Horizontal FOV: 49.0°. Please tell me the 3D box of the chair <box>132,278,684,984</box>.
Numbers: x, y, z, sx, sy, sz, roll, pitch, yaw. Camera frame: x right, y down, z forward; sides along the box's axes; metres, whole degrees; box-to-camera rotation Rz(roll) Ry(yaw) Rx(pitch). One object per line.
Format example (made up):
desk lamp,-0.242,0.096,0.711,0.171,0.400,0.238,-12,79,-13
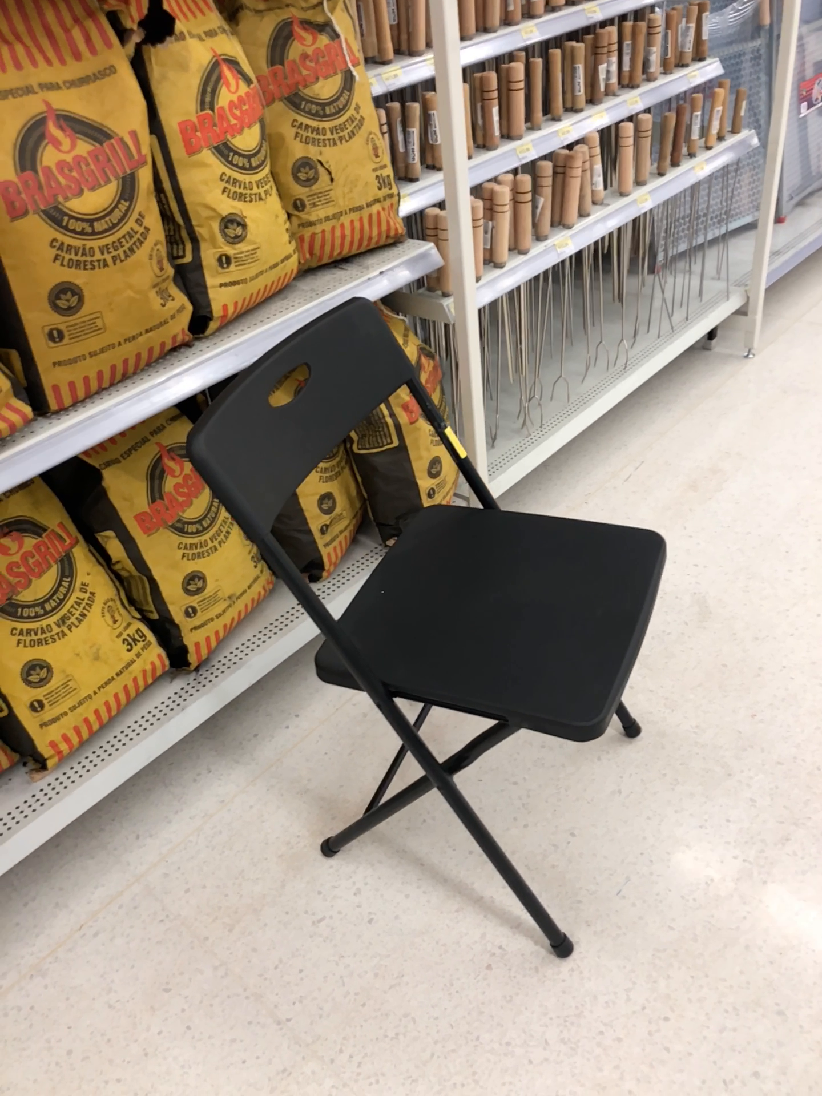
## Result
chair,0.061,0.090,1.178,0.450,0.715,0.463,10,39,23
